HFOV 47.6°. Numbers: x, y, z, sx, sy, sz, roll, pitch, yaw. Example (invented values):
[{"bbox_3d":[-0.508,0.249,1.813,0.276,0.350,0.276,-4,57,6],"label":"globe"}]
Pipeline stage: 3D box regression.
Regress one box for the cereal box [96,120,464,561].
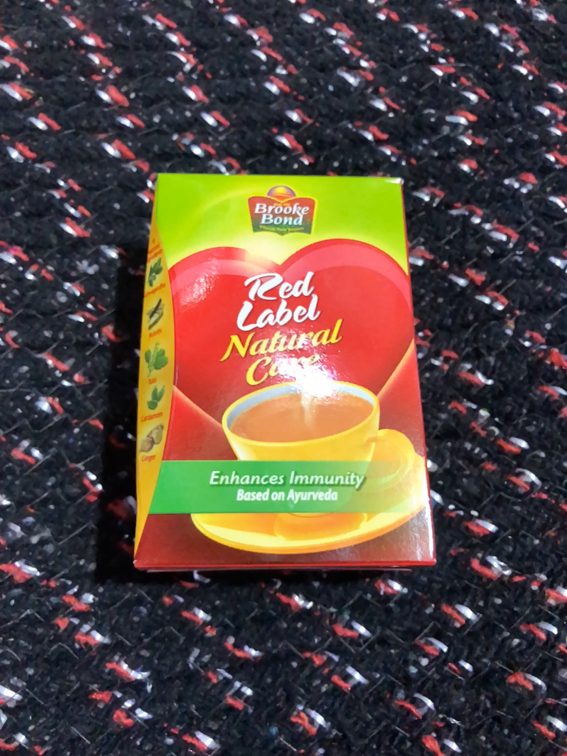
[{"bbox_3d":[-0.002,-0.009,0.175,0.080,0.040,0.110,1,72,-6],"label":"cereal box"}]
